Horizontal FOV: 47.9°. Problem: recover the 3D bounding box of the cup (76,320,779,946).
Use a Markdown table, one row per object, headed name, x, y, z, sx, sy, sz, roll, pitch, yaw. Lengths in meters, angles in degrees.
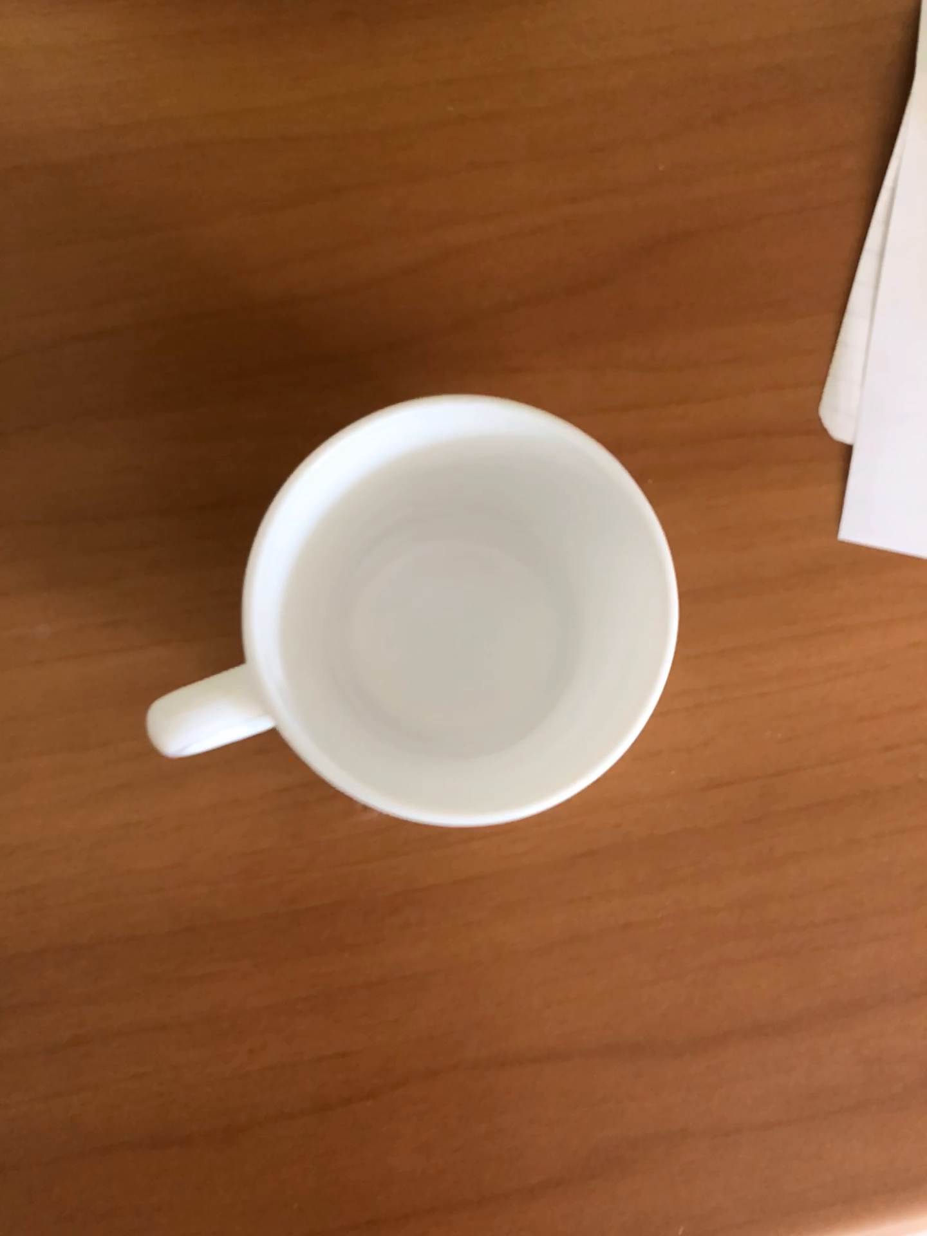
| name | x | y | z | sx | sy | sz | roll | pitch | yaw |
| --- | --- | --- | --- | --- | --- | --- | --- | --- | --- |
| cup | -0.007 | 0.003 | 0.204 | 0.100 | 0.050 | 0.080 | -19 | 85 | -5 |
